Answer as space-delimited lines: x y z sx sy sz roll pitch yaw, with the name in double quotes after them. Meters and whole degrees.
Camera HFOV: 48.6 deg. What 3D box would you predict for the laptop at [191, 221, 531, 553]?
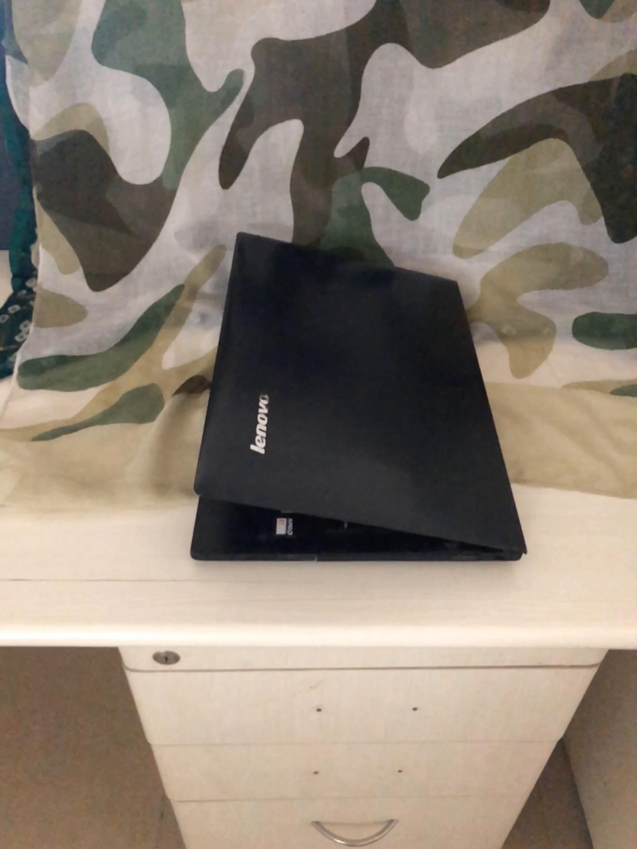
0.035 -0.063 0.671 0.249 0.059 0.388 4 44 -2 "laptop"
